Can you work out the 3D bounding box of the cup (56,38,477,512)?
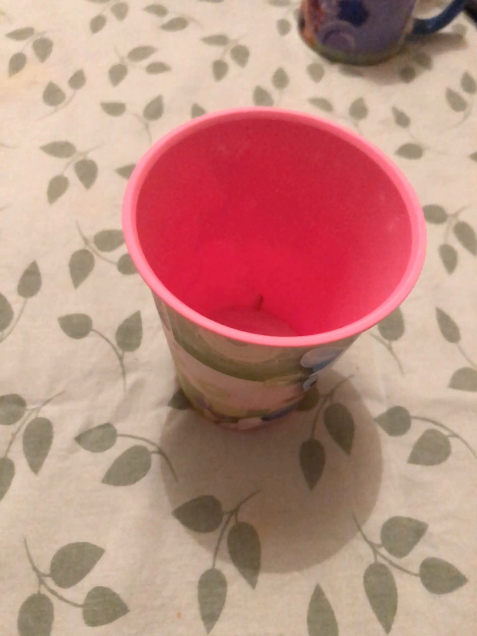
[{"bbox_3d":[0.011,-0.009,0.205,0.100,0.119,0.100,2,60,-4],"label":"cup"}]
